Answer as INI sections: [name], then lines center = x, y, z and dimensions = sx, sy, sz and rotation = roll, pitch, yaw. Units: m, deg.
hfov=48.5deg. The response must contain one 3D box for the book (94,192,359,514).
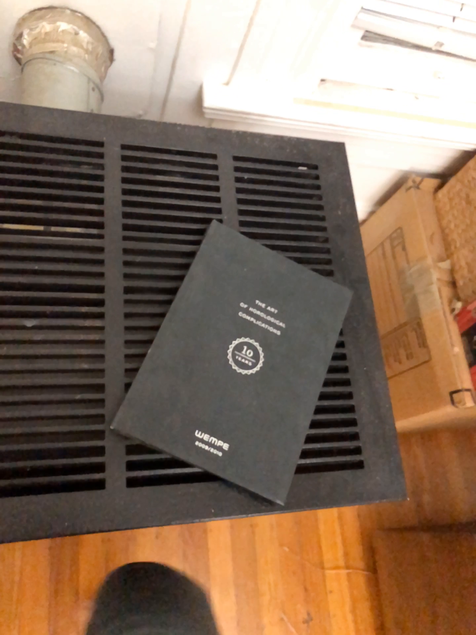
[book]
center = 0.004, 0.021, 0.474
dimensions = 0.160, 0.020, 0.251
rotation = 26, 64, -7
